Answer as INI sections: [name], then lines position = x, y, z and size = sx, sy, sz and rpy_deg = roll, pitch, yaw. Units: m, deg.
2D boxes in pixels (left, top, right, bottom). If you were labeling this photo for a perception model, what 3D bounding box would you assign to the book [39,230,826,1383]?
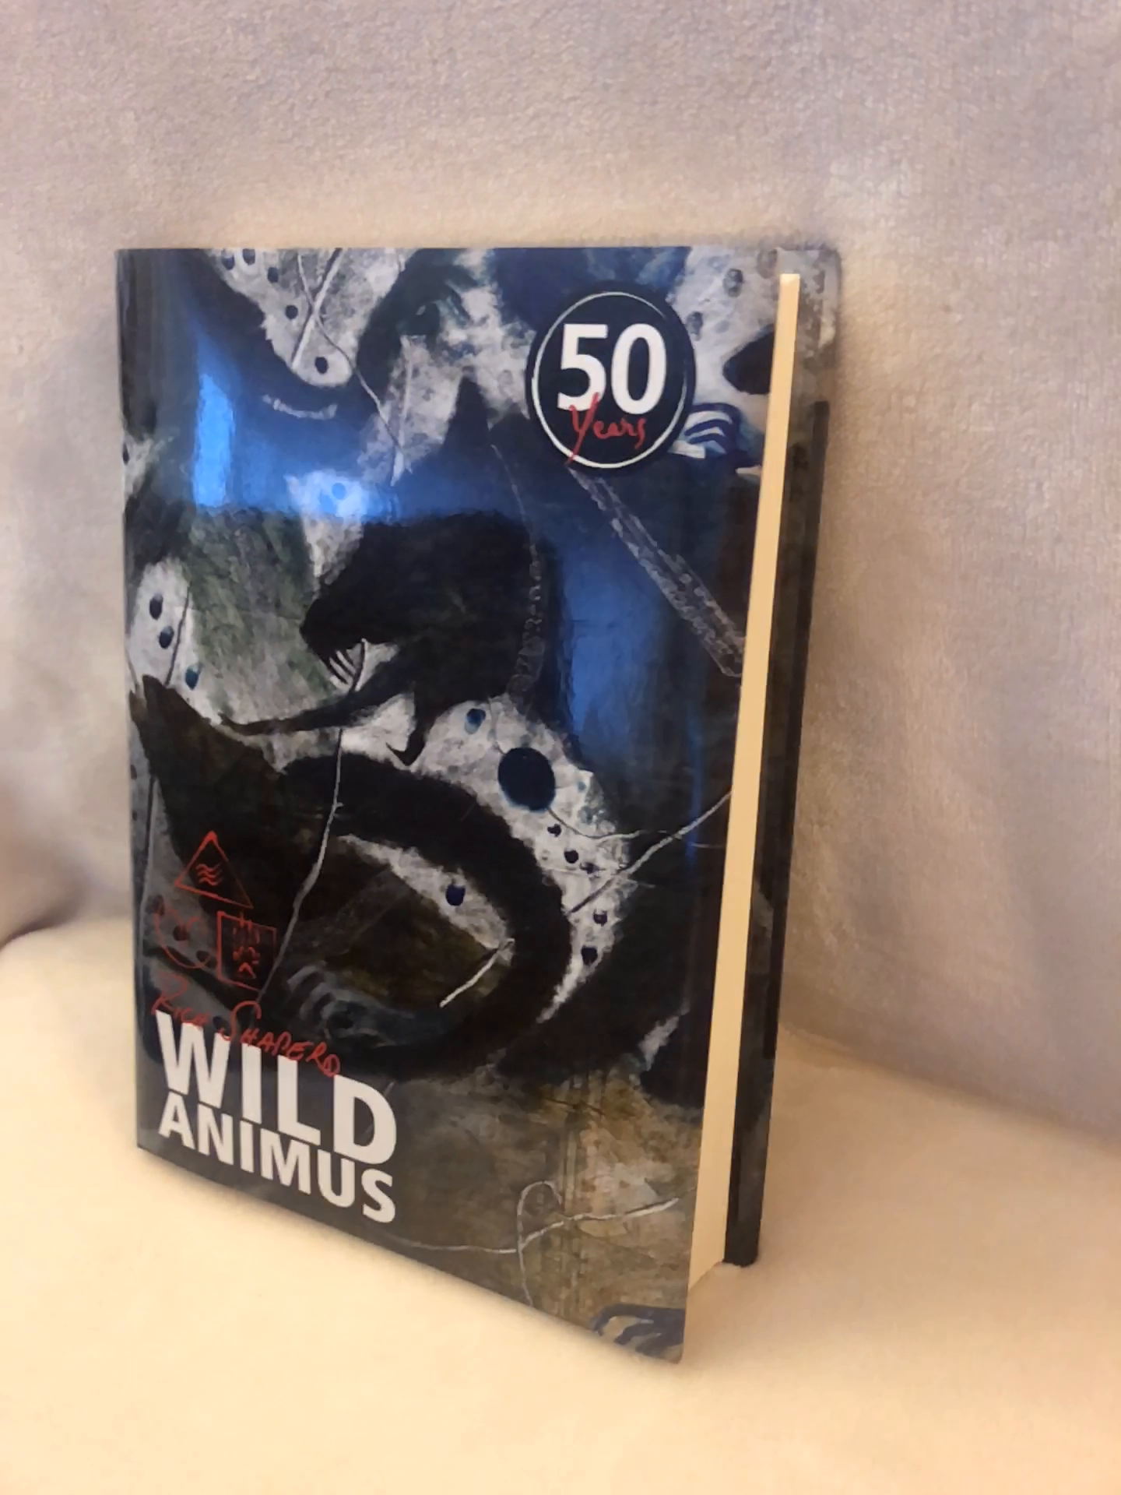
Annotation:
[book]
position = -0.037, 0.005, 0.280
size = 0.163, 0.216, 0.043
rpy_deg = 9, 14, 25
